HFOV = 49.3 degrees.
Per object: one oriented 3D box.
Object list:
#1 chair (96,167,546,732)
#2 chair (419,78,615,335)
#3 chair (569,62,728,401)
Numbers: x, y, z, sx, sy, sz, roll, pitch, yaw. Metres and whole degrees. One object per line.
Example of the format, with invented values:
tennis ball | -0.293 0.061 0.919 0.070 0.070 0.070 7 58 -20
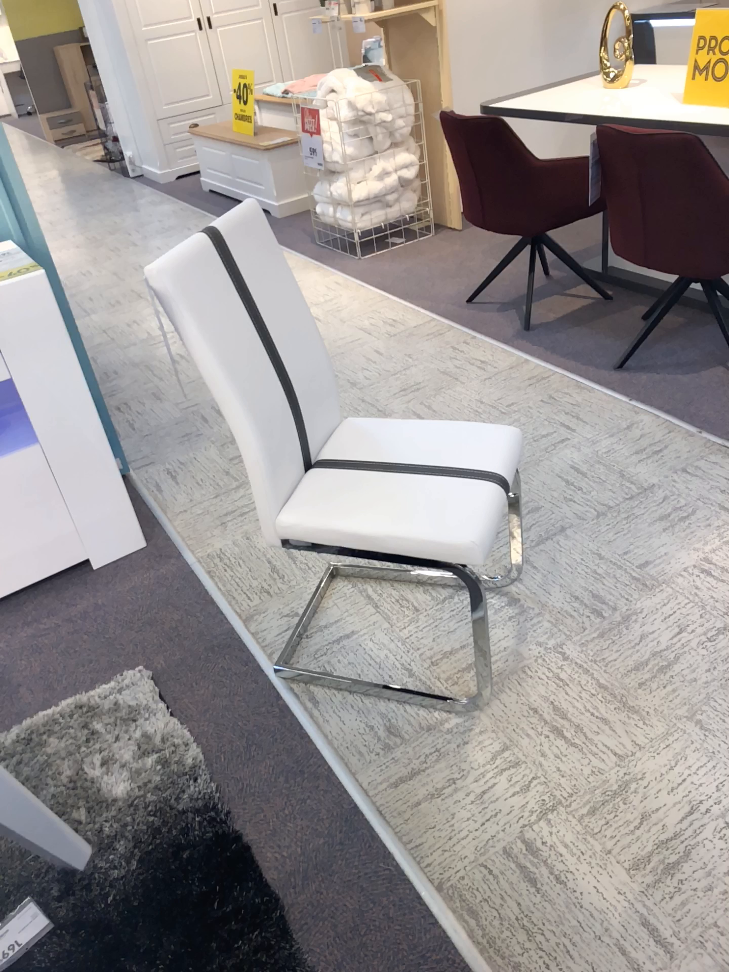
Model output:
chair | 0.007 -0.070 1.516 0.569 0.878 0.490 5 36 21
chair | 0.672 -1.230 3.460 0.571 0.878 0.538 -26 36 -23
chair | 1.185 -0.904 2.749 0.693 0.878 0.637 -33 39 -31
